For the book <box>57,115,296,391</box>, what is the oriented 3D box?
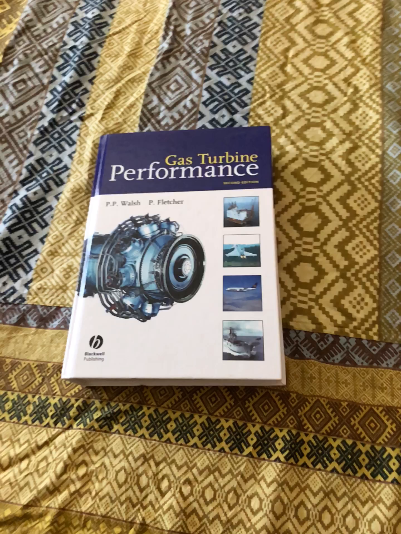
[{"bbox_3d":[-0.016,-0.022,0.441,0.192,0.060,0.273,-1,64,5],"label":"book"}]
